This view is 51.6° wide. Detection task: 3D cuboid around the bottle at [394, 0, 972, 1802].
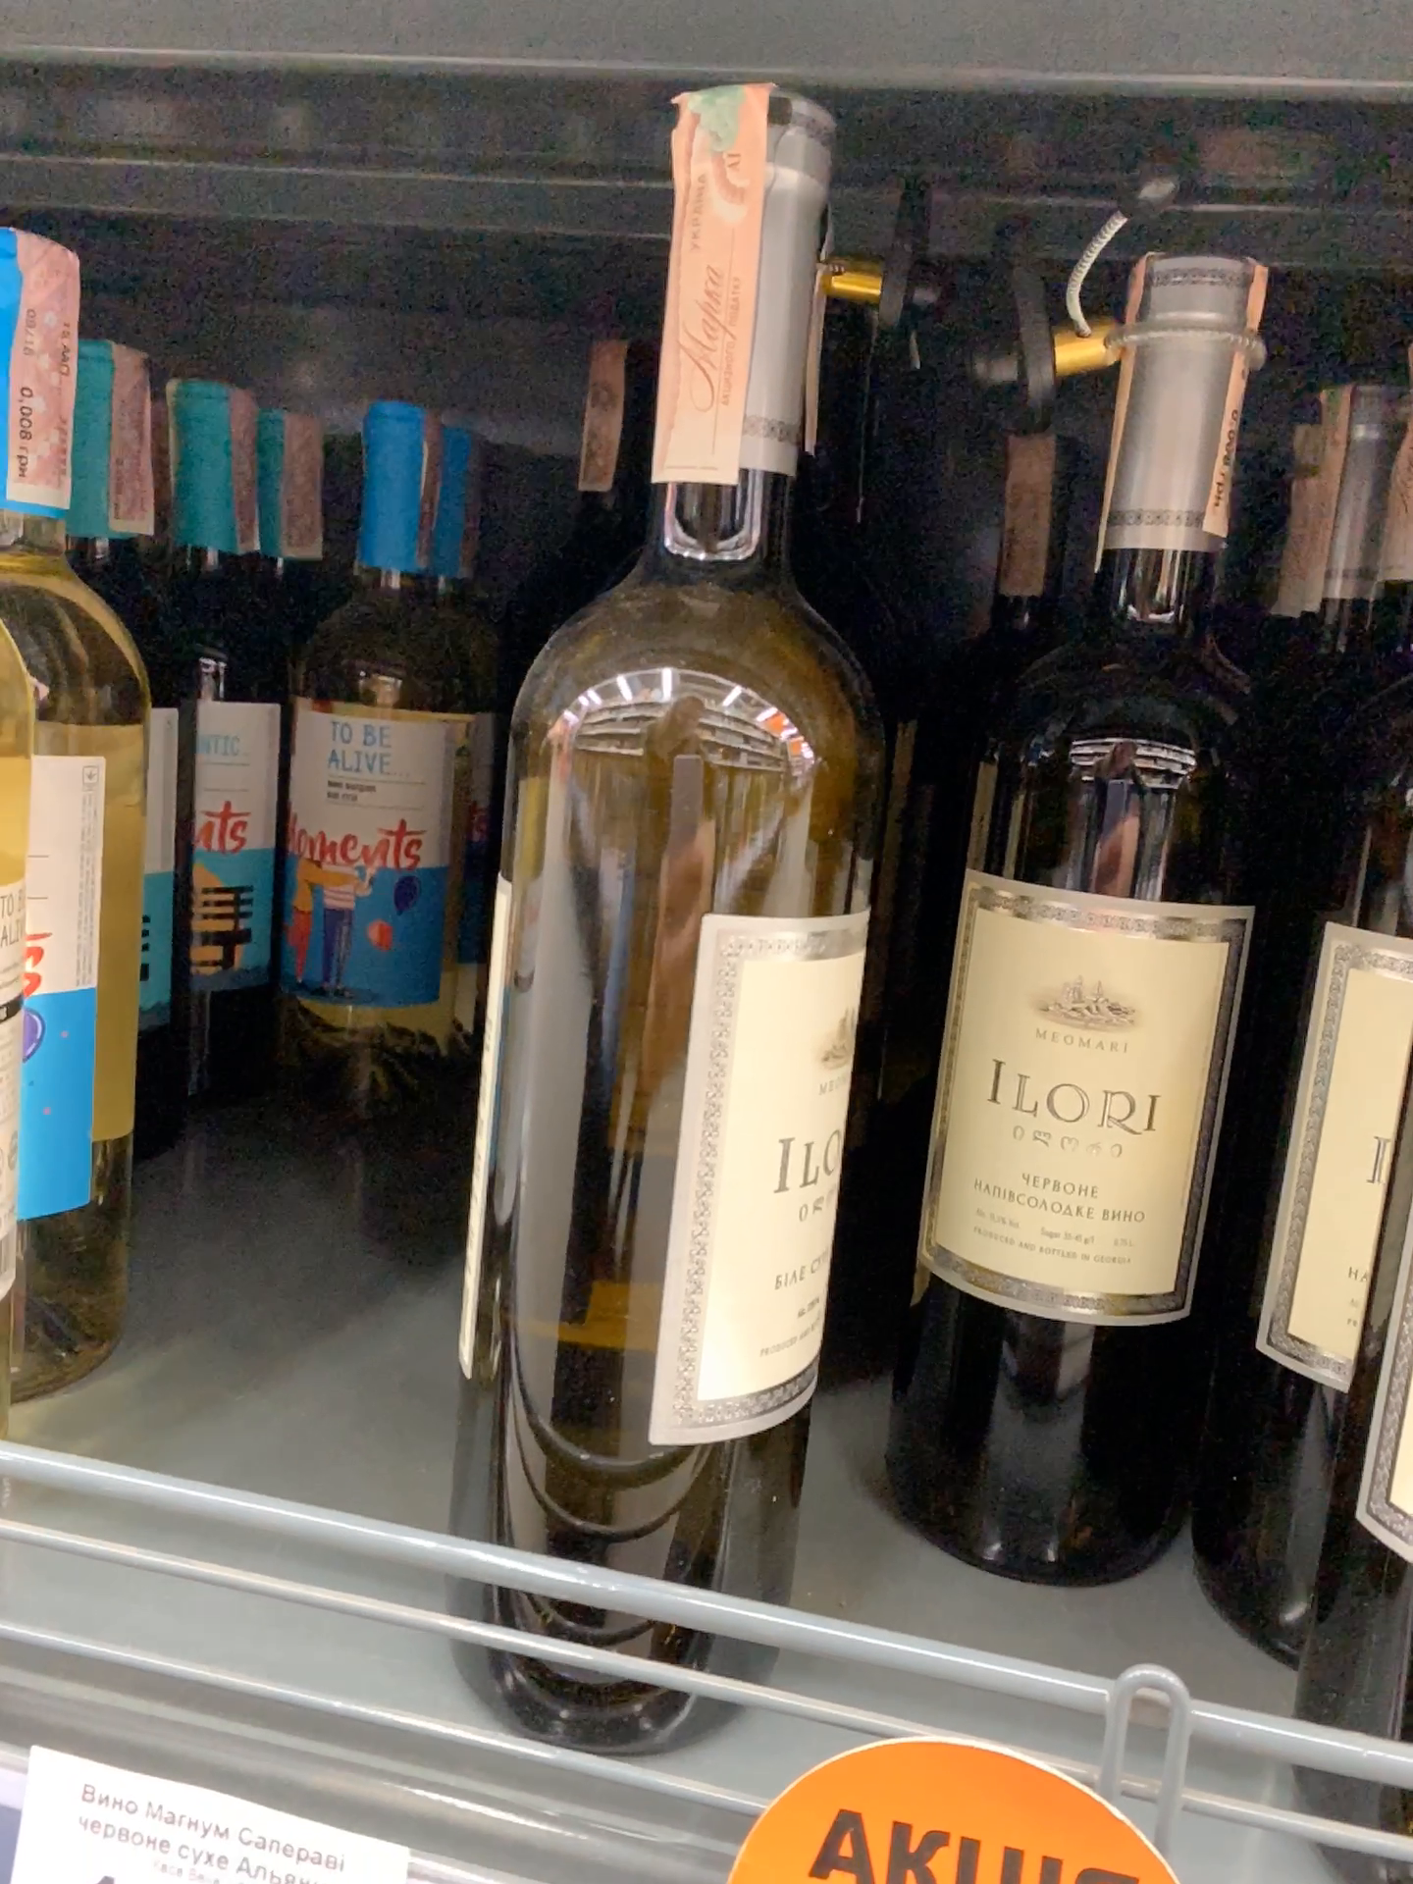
[{"bbox_3d":[-0.006,-0.003,0.292,0.069,0.319,0.070,5,11,-1],"label":"bottle"}]
